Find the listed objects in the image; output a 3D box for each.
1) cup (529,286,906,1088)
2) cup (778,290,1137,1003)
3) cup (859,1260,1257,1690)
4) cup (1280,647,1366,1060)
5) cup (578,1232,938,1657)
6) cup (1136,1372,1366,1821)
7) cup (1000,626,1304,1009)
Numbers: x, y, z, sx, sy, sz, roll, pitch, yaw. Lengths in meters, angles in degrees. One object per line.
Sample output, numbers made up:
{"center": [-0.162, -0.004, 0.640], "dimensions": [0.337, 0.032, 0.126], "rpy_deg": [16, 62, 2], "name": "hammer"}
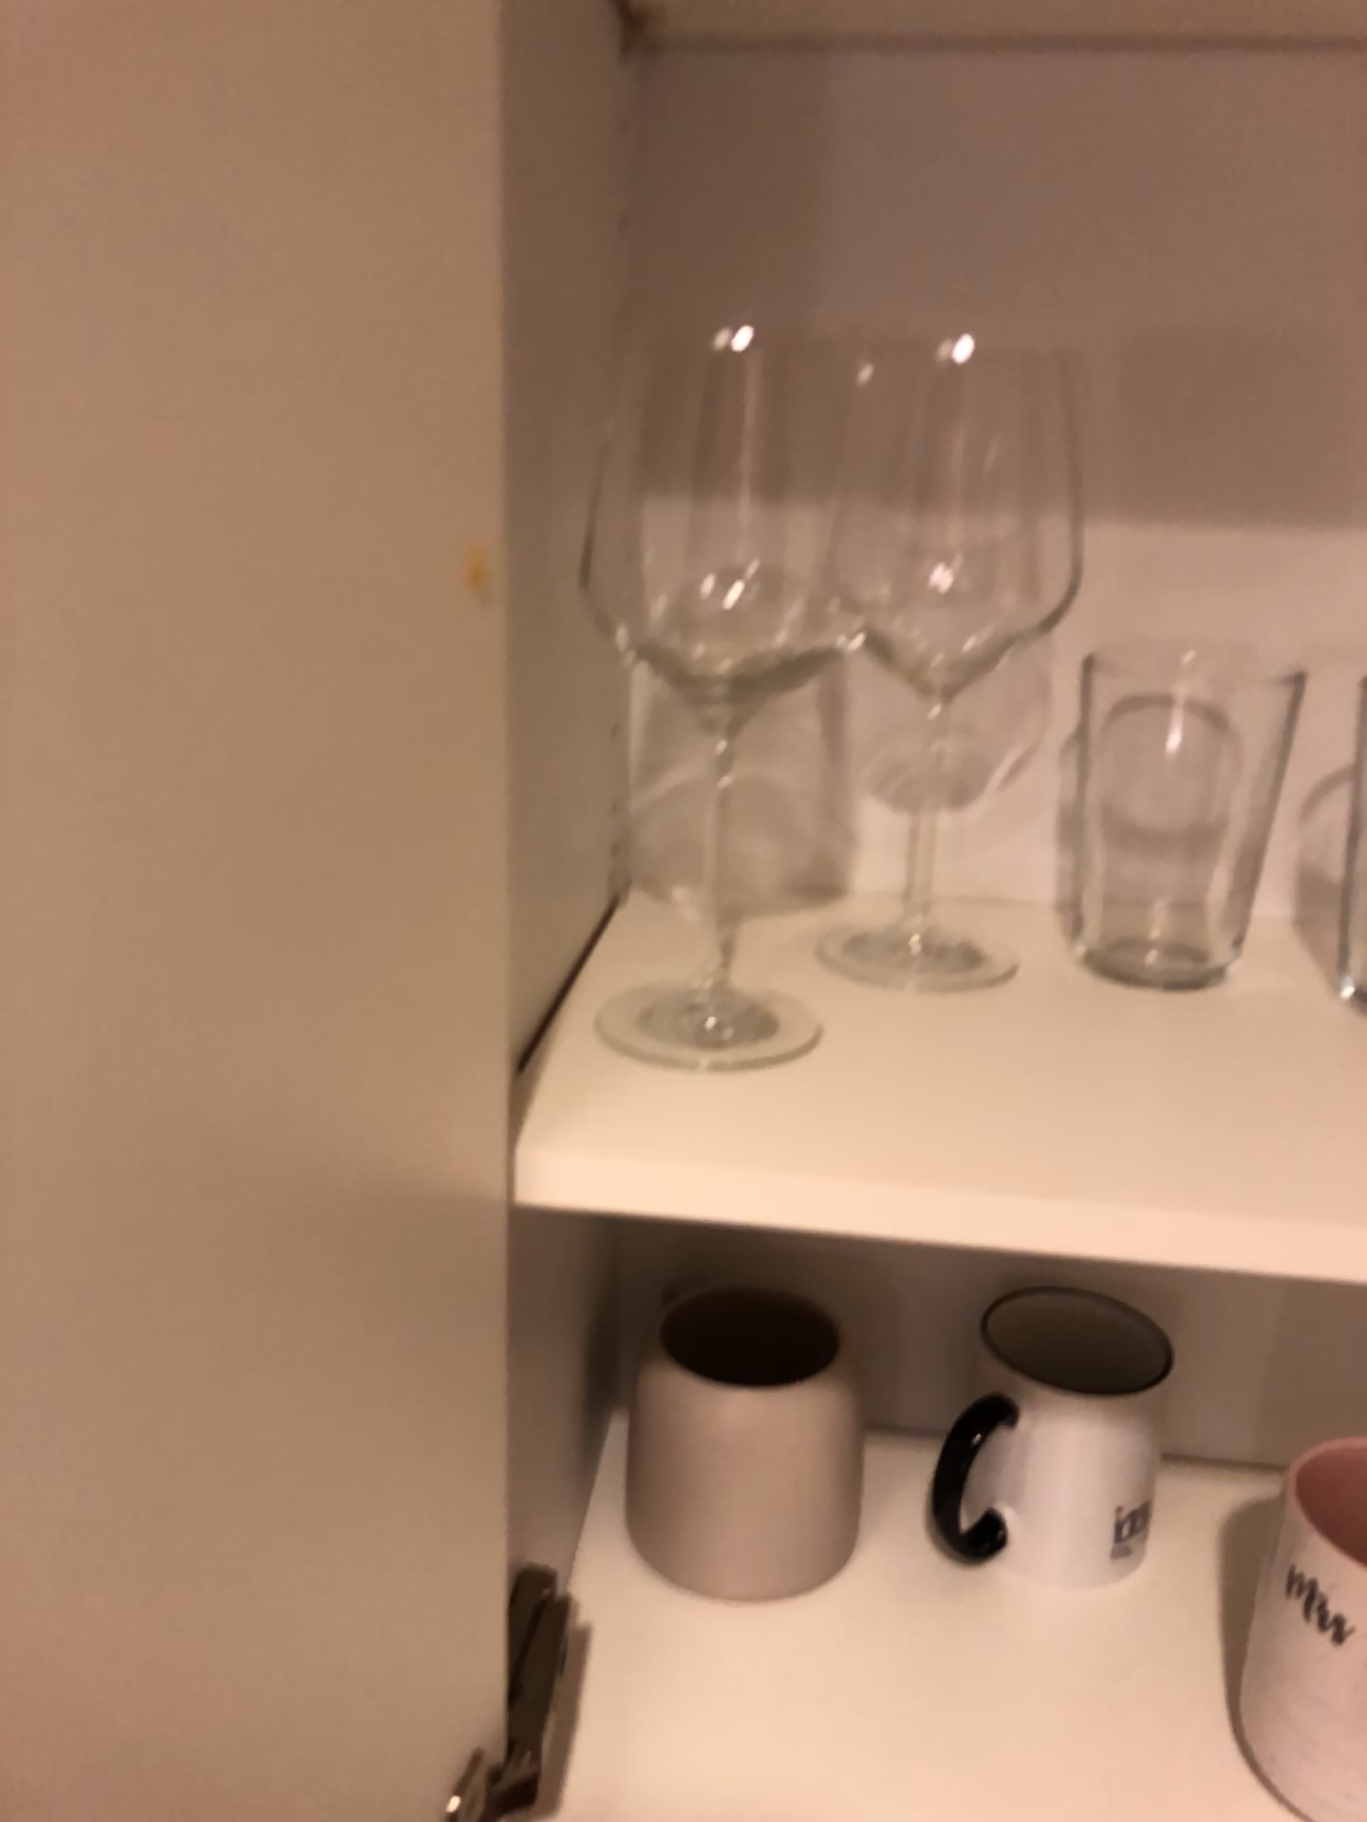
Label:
{"center": [0.008, -0.075, 0.513], "dimensions": [0.110, 0.249, 0.090], "rpy_deg": [2, 16, 2], "name": "cup"}
{"center": [0.100, -0.103, 0.597], "dimensions": [0.110, 0.259, 0.090], "rpy_deg": [2, 16, 2], "name": "cup"}
{"center": [0.157, 0.228, 0.626], "dimensions": [0.140, 0.090, 0.090], "rpy_deg": [-13, 22, -40], "name": "cup"}
{"center": [0.270, -0.024, 0.513], "dimensions": [0.080, 0.119, 0.090], "rpy_deg": [2, 17, 2], "name": "cup"}
{"center": [0.024, 0.217, 0.633], "dimensions": [0.110, 0.090, 0.141], "rpy_deg": [-3, 18, -16], "name": "cup"}
{"center": [0.241, 0.248, 0.489], "dimensions": [0.140, 0.110, 0.090], "rpy_deg": [17, 22, 40], "name": "cup"}
{"center": [0.178, -0.040, 0.585], "dimensions": [0.080, 0.129, 0.090], "rpy_deg": [2, 17, 2], "name": "cup"}
